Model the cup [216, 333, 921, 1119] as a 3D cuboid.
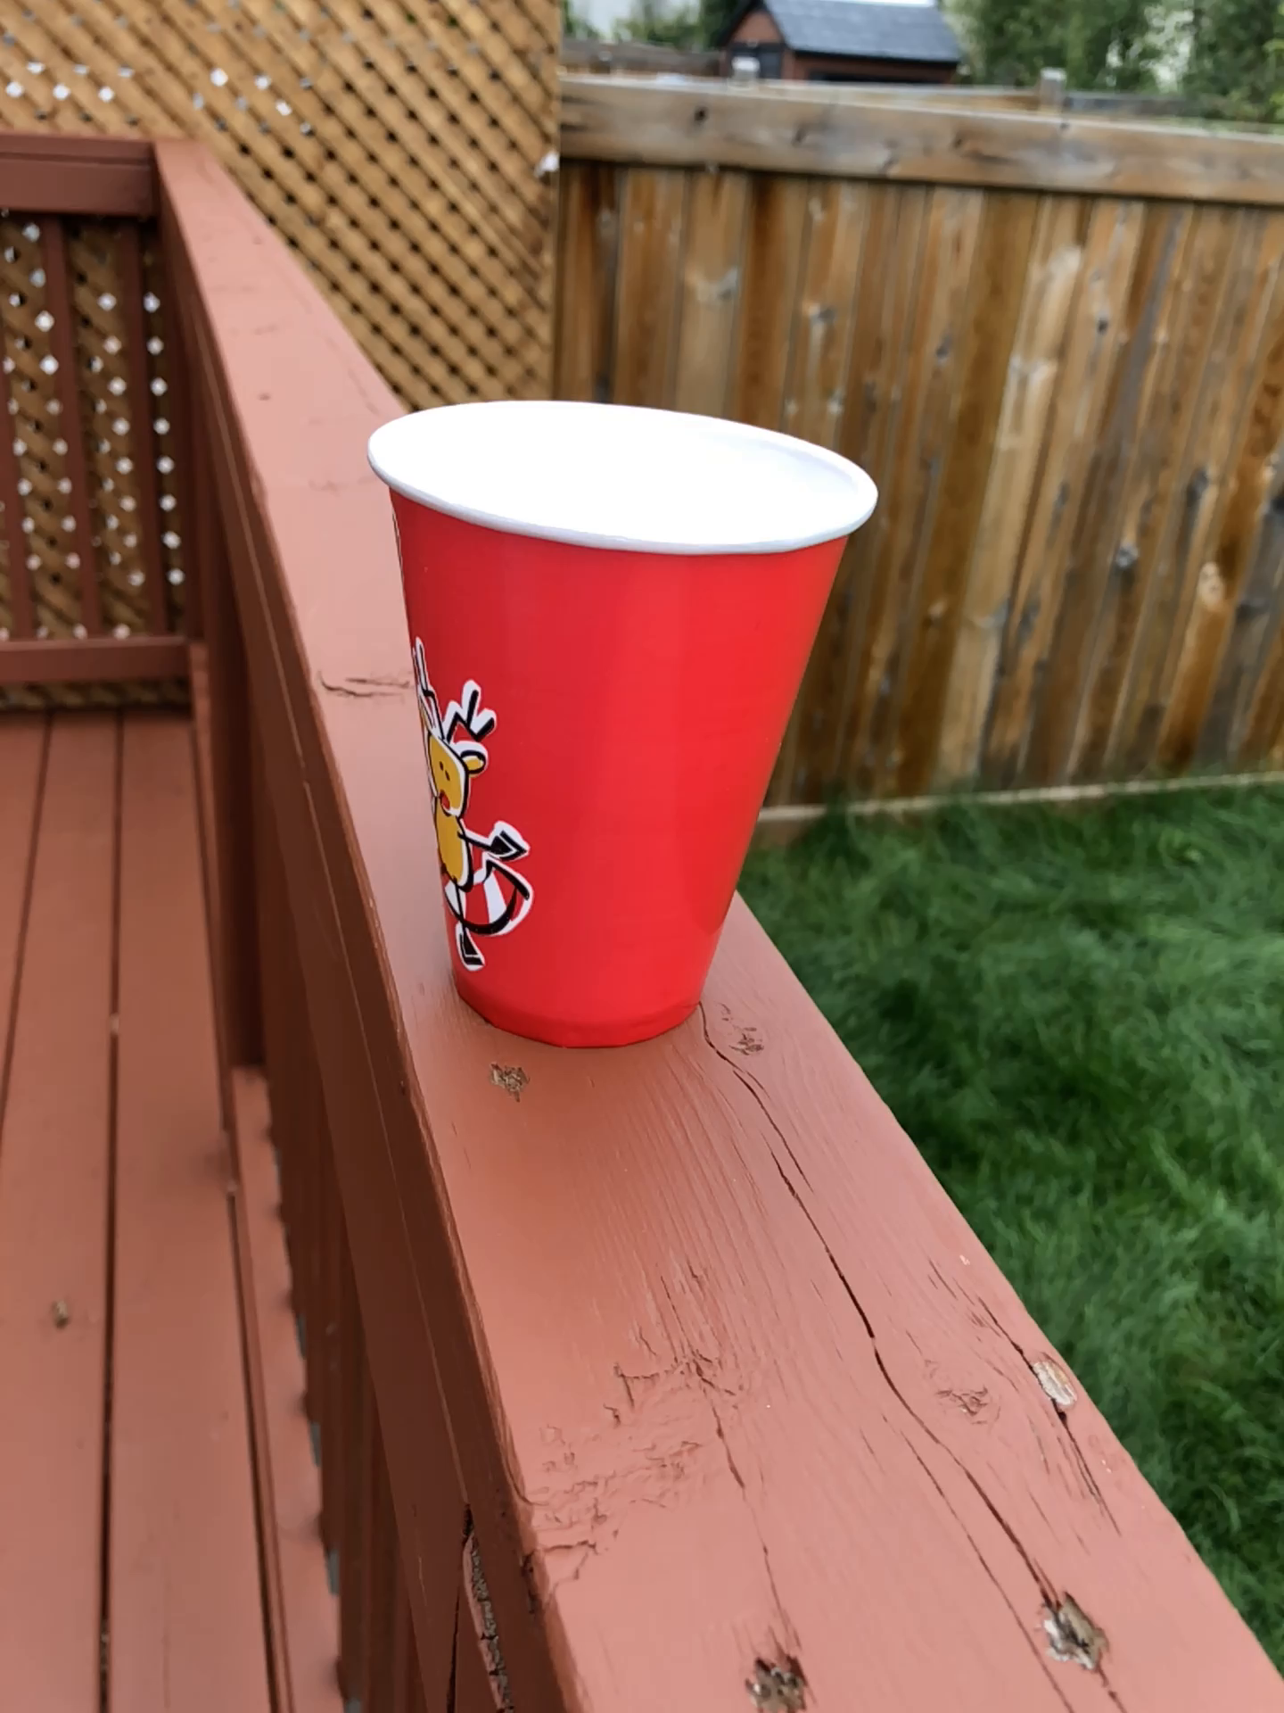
[{"bbox_3d":[-0.017,-0.029,0.245,0.080,0.100,0.080,4,28,-2],"label":"cup"}]
